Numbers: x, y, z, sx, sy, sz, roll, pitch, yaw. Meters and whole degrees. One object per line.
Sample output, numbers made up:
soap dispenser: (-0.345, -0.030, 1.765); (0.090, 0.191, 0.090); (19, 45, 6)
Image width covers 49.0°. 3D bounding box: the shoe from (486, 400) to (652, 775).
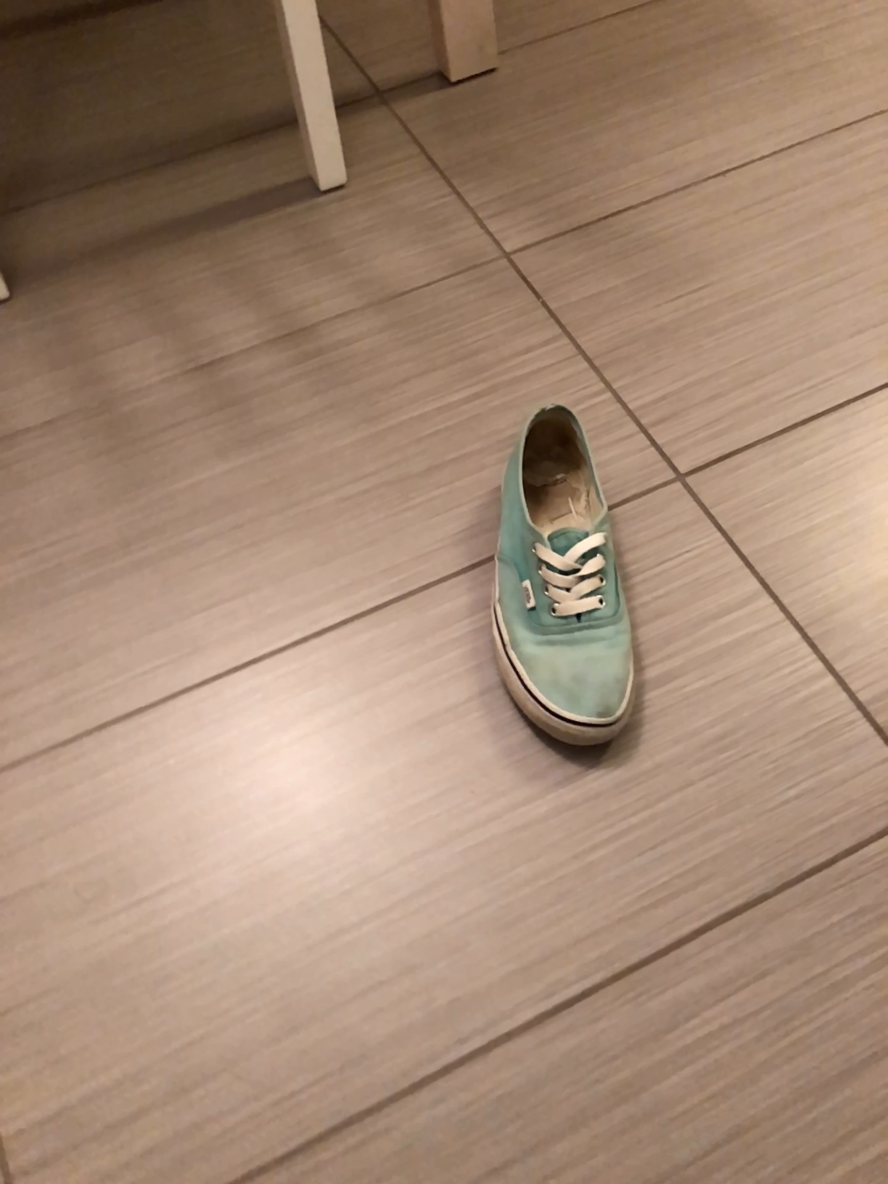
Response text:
shoe: (0.081, -0.010, 0.695); (0.090, 0.080, 0.261); (-3, 58, 2)
